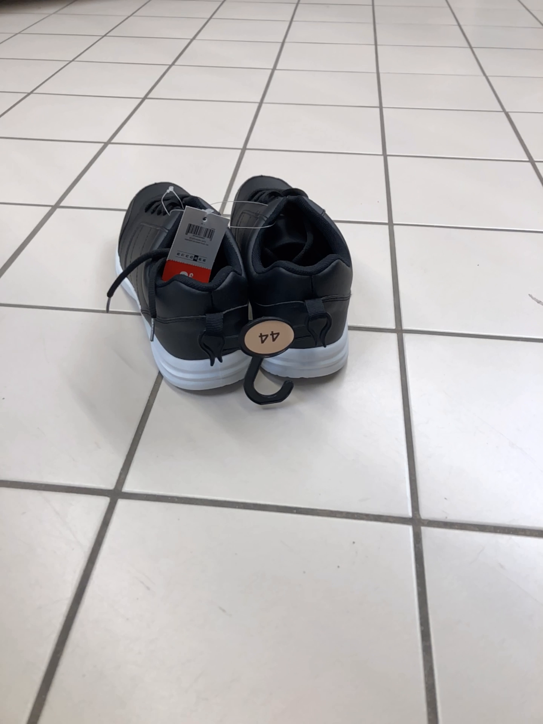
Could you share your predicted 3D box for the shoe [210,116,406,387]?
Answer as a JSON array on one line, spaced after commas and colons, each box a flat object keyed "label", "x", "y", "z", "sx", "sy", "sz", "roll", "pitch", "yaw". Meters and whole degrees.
[{"label": "shoe", "x": 0.016, "y": -0.124, "z": 0.575, "sx": 0.110, "sy": 0.119, "sz": 0.291, "roll": -7, "pitch": 41, "yaw": -8}]

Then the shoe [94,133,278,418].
[{"label": "shoe", "x": -0.090, "y": -0.101, "z": 0.565, "sx": 0.110, "sy": 0.119, "sz": 0.291, "roll": -11, "pitch": 42, "yaw": -13}]
